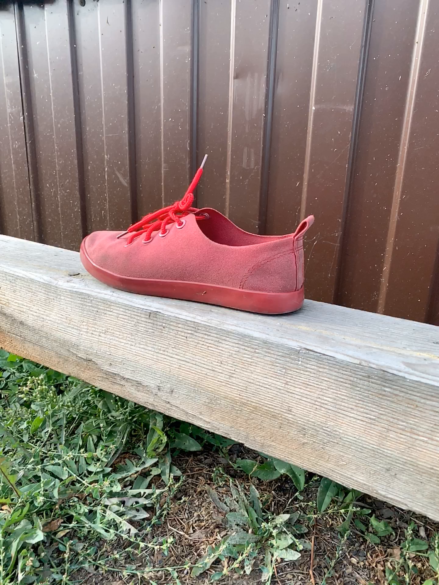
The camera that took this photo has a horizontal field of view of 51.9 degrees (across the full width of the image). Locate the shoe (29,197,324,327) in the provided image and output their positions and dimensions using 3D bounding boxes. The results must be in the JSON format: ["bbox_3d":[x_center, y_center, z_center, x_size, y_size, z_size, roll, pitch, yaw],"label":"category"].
[{"bbox_3d":[-0.040,-0.040,0.404,0.240,0.070,0.101,9,18,24],"label":"shoe"}]
